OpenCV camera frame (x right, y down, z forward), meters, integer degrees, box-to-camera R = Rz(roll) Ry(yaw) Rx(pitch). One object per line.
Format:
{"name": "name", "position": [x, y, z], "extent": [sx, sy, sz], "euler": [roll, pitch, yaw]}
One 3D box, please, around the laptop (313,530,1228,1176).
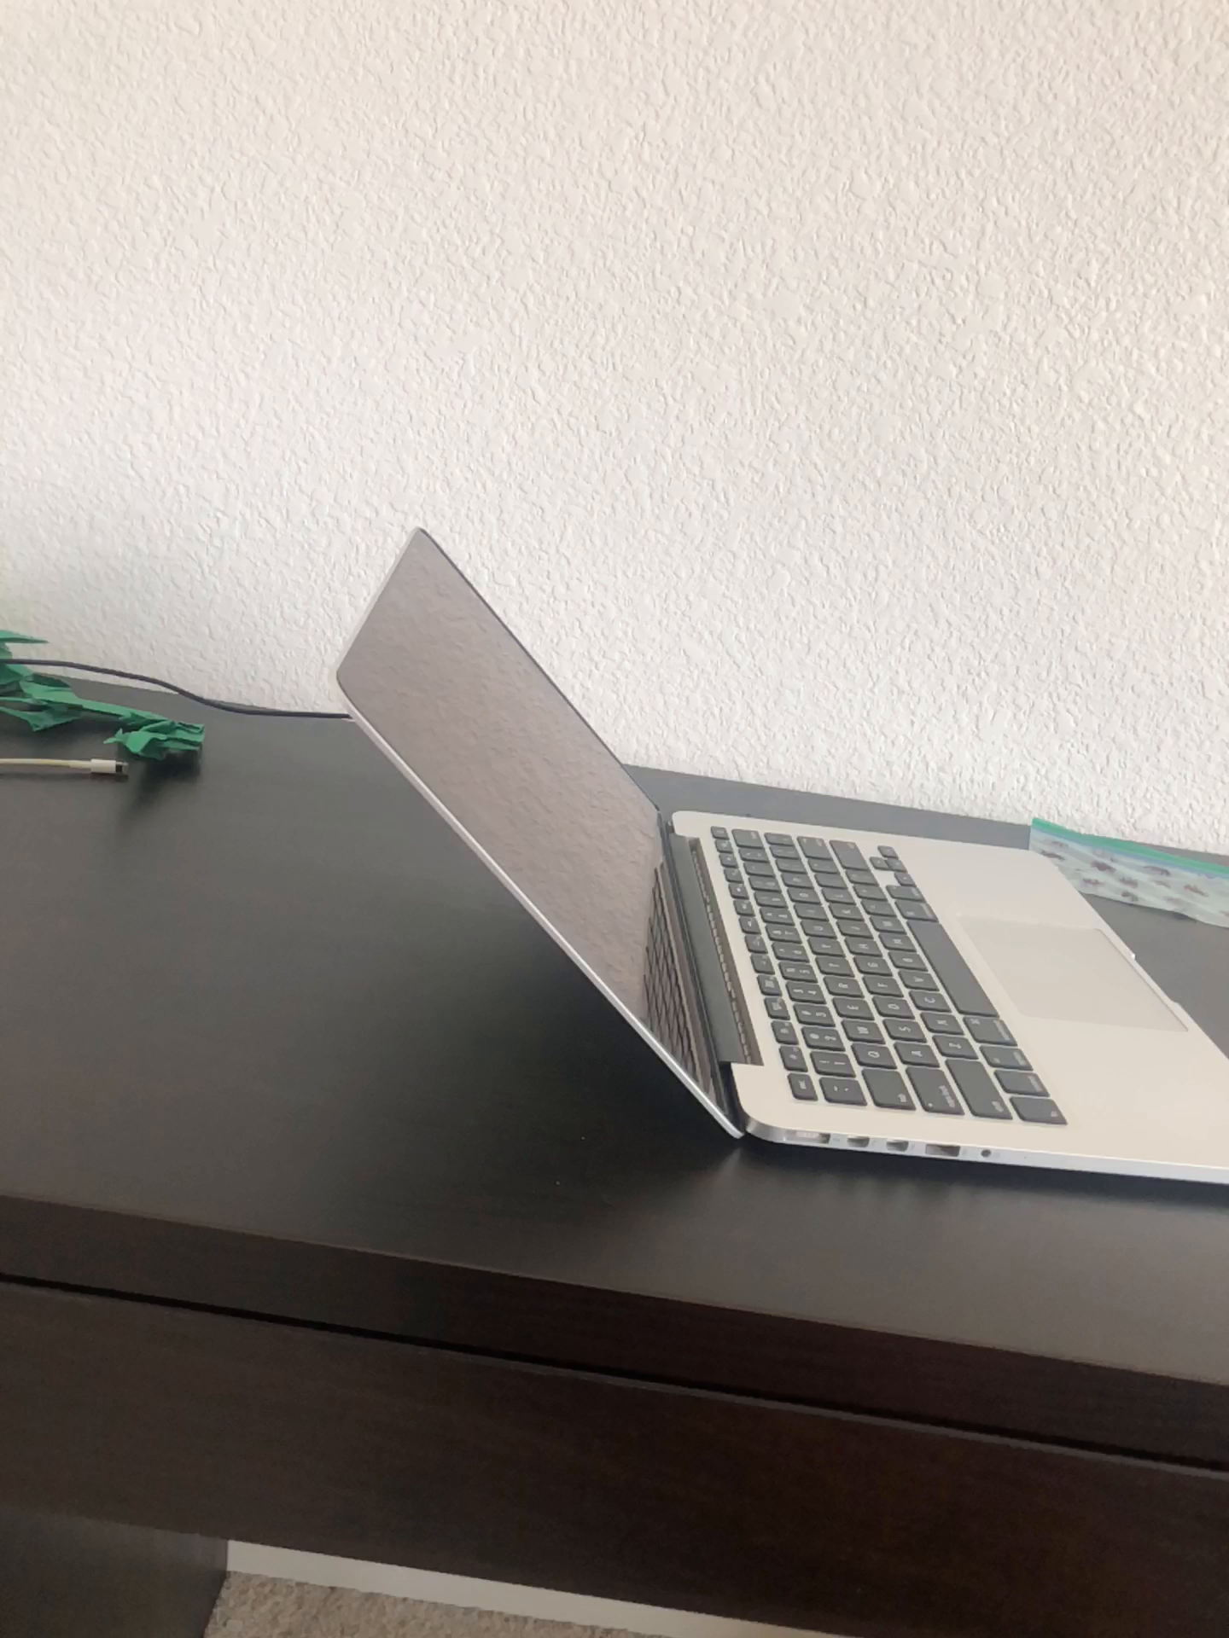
{"name": "laptop", "position": [0.079, -0.011, 0.596], "extent": [0.362, 0.133, 0.310], "euler": [7, 20, -5]}
